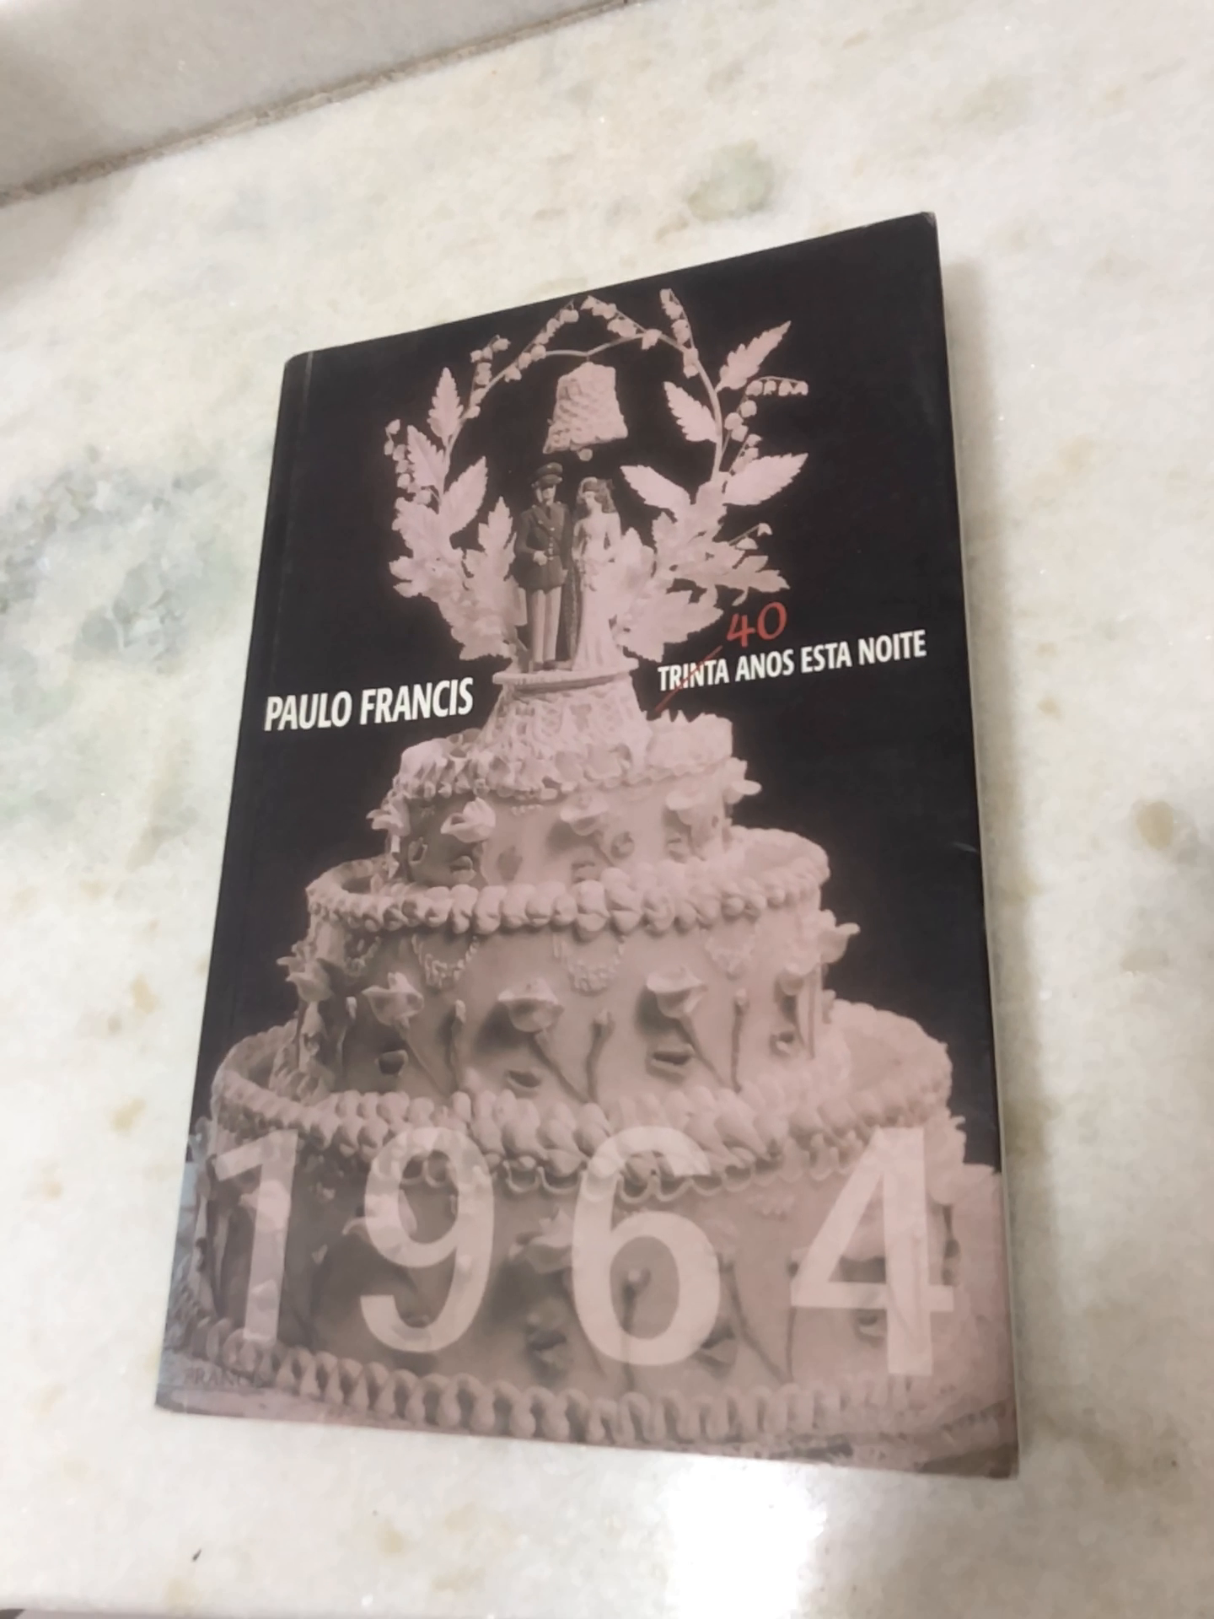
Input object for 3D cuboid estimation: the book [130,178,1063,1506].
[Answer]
[{"bbox_3d":[-0.005,-0.002,0.231,0.140,0.020,0.204,-5,71,19],"label":"book"}]
